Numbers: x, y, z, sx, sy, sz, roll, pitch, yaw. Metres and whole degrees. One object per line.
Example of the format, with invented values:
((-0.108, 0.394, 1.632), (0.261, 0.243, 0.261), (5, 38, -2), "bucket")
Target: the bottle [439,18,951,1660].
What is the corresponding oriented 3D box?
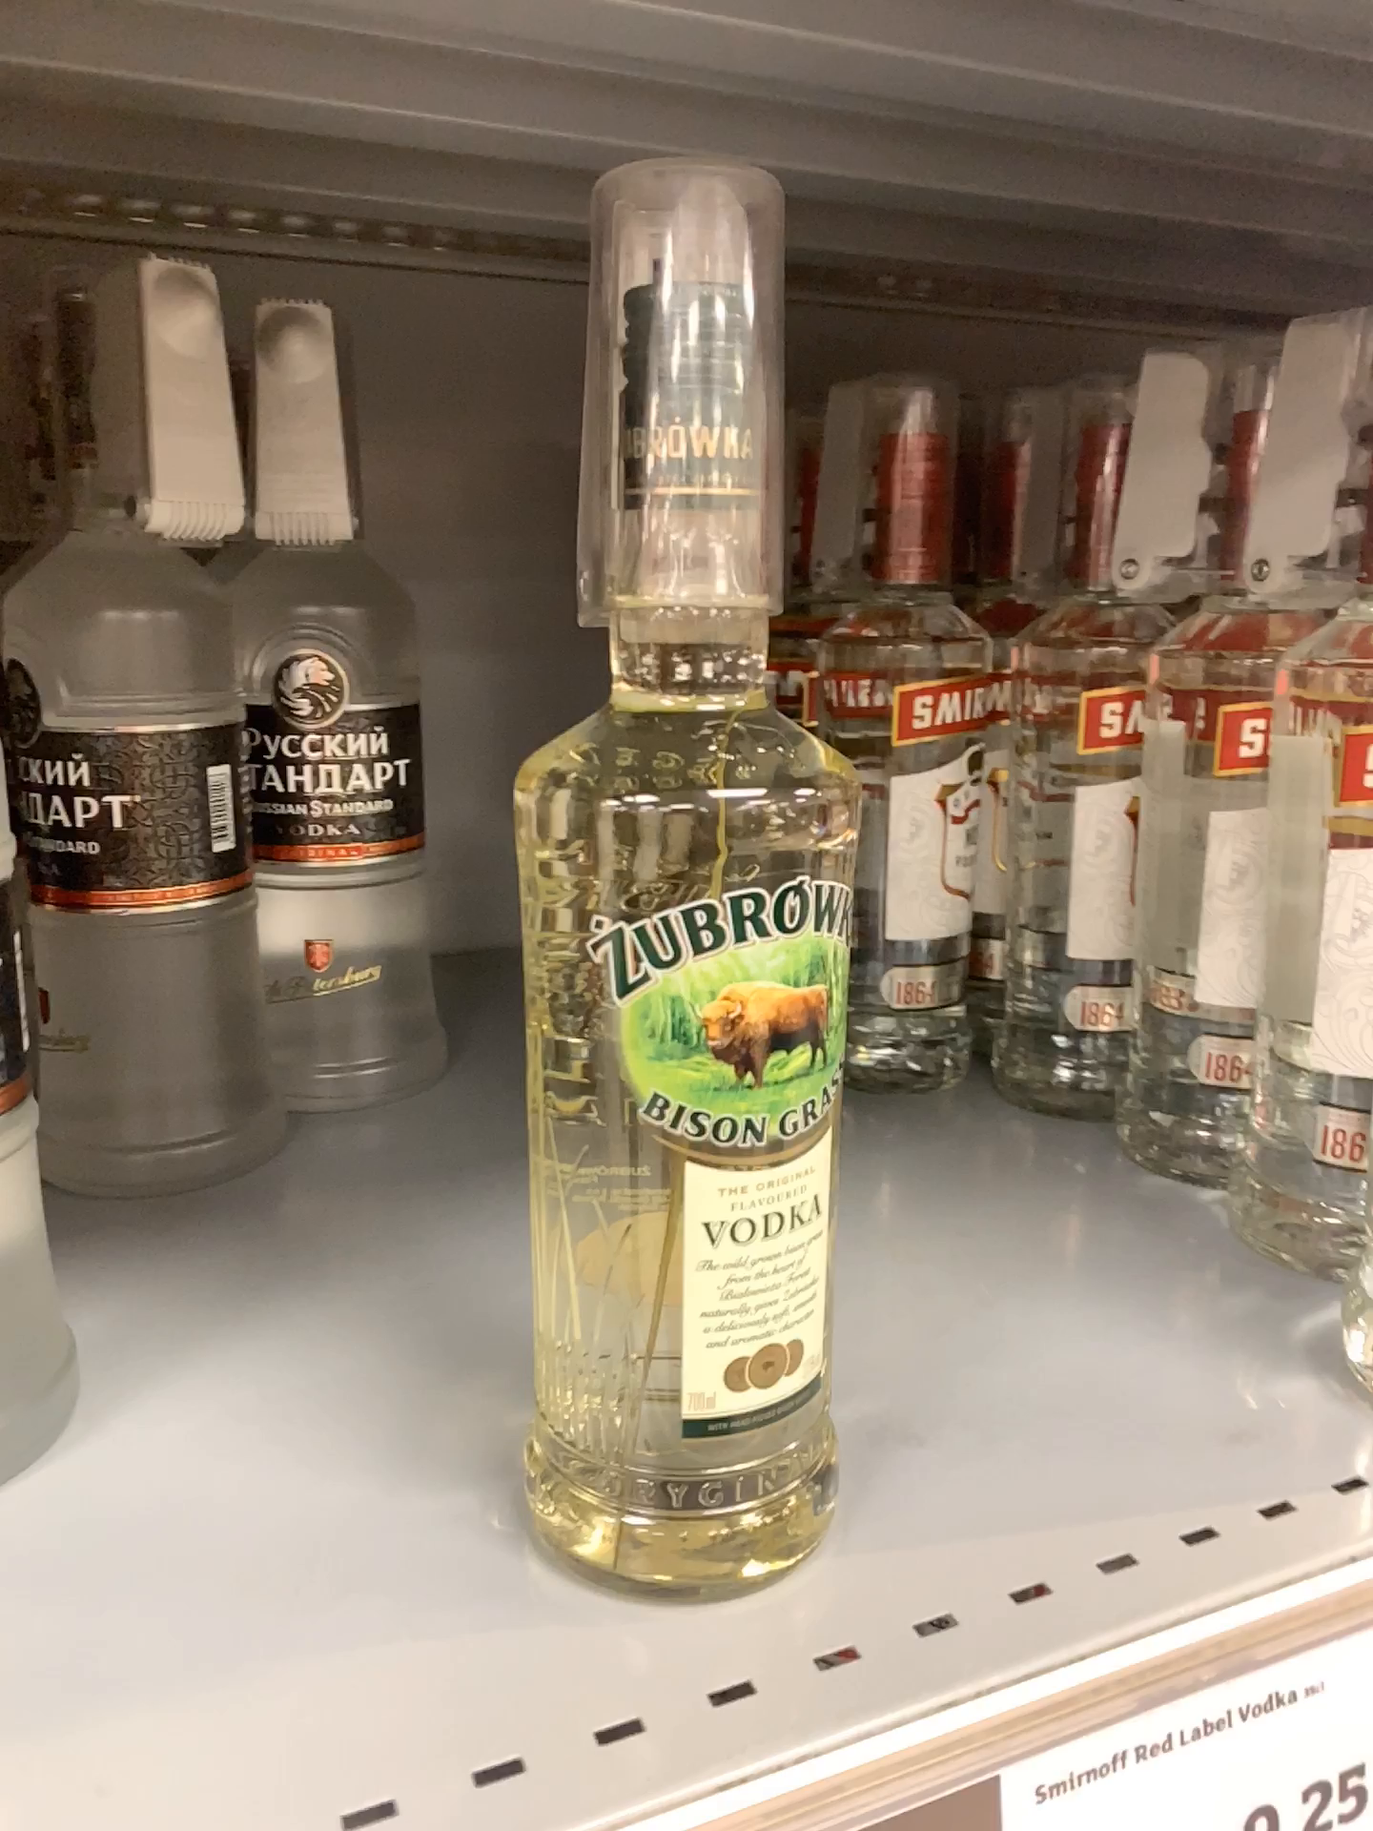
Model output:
((-0.001, -0.006, 0.303), (0.076, 0.303, 0.069), (-6, 14, -25), "bottle")
